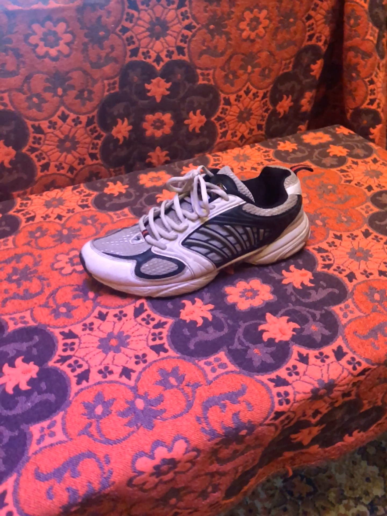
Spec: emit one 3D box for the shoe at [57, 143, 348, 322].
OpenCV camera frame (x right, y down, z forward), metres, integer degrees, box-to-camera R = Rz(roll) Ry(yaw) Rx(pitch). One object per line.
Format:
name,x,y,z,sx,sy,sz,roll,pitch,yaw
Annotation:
shoe,0.013,-0.045,0.517,0.310,0.090,0.120,-17,41,-19
